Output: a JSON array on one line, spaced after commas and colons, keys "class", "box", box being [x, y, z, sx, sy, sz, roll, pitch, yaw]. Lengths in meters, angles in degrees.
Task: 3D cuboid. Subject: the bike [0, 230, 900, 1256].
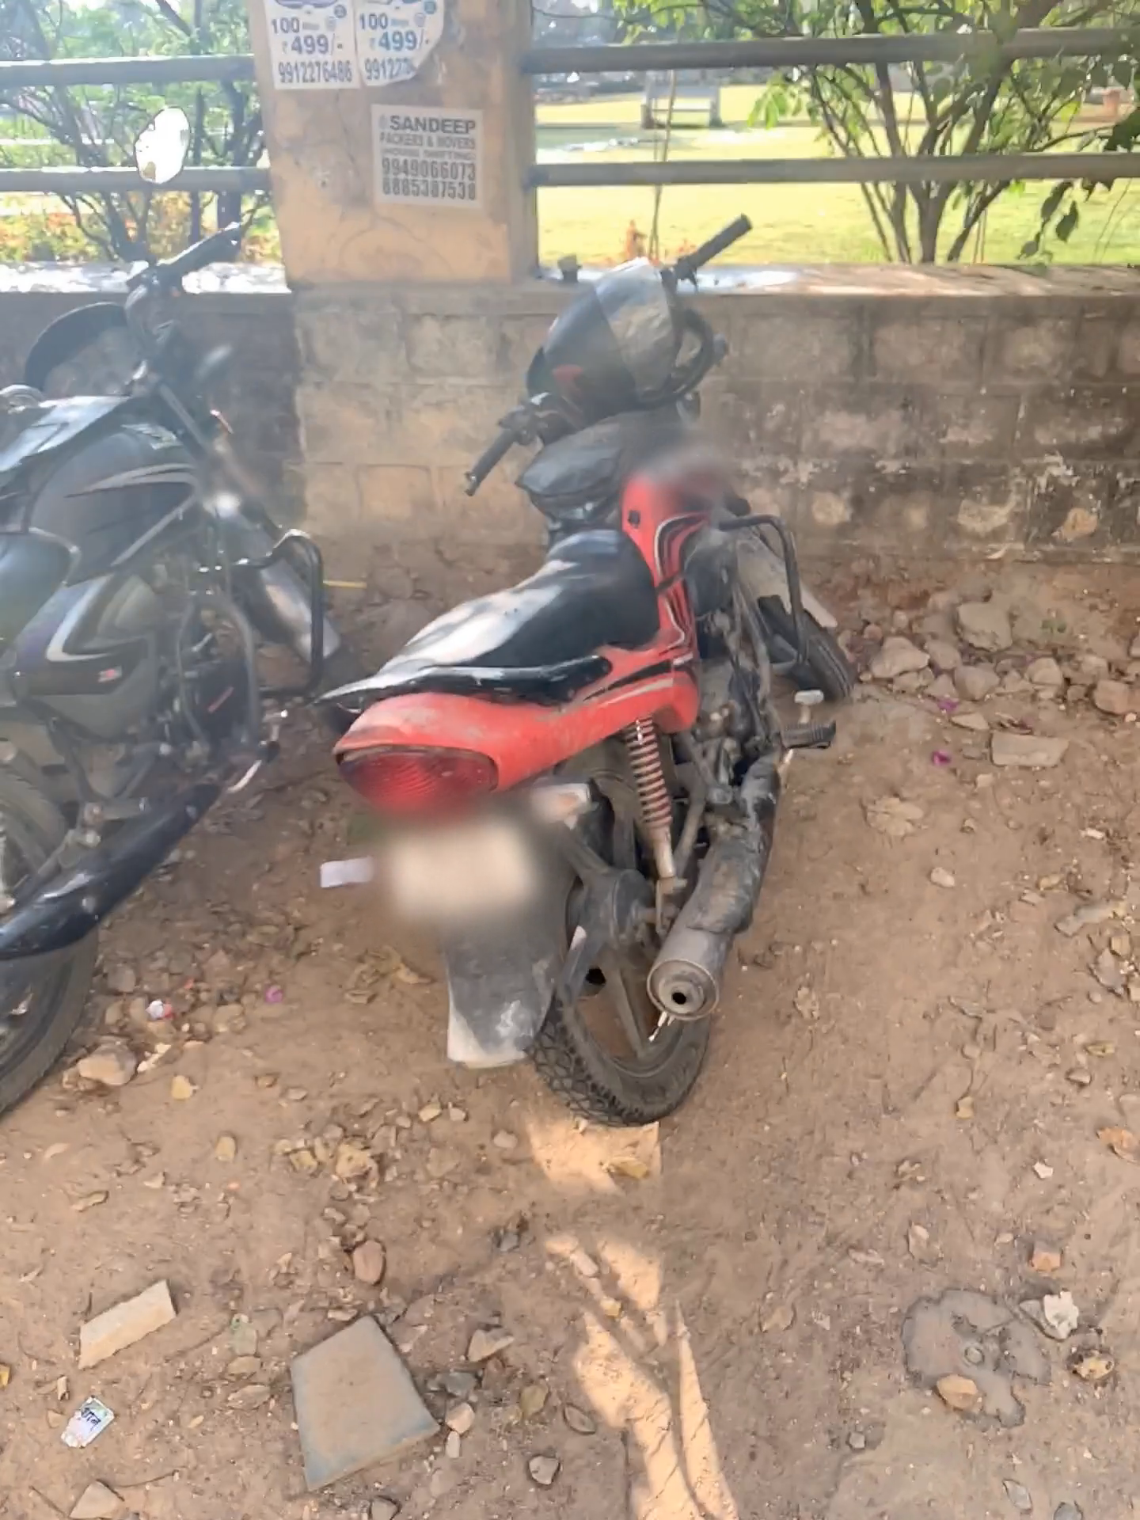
[{"class": "bike", "box": [-0.045, -0.245, 2.178, 1.065, 1.245, 1.601, 7, 30, 14]}]
